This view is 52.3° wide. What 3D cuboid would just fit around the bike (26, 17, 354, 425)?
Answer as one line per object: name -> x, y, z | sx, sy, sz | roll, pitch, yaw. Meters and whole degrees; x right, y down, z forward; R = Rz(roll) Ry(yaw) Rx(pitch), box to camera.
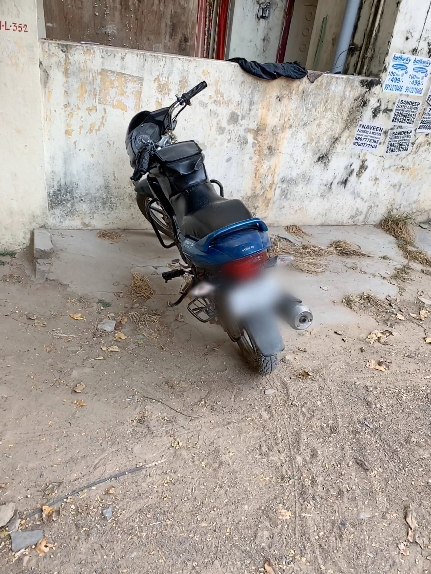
bike -> -0.359, -0.478, 2.234 | 0.755, 1.233, 1.710 | -8, 36, -27
